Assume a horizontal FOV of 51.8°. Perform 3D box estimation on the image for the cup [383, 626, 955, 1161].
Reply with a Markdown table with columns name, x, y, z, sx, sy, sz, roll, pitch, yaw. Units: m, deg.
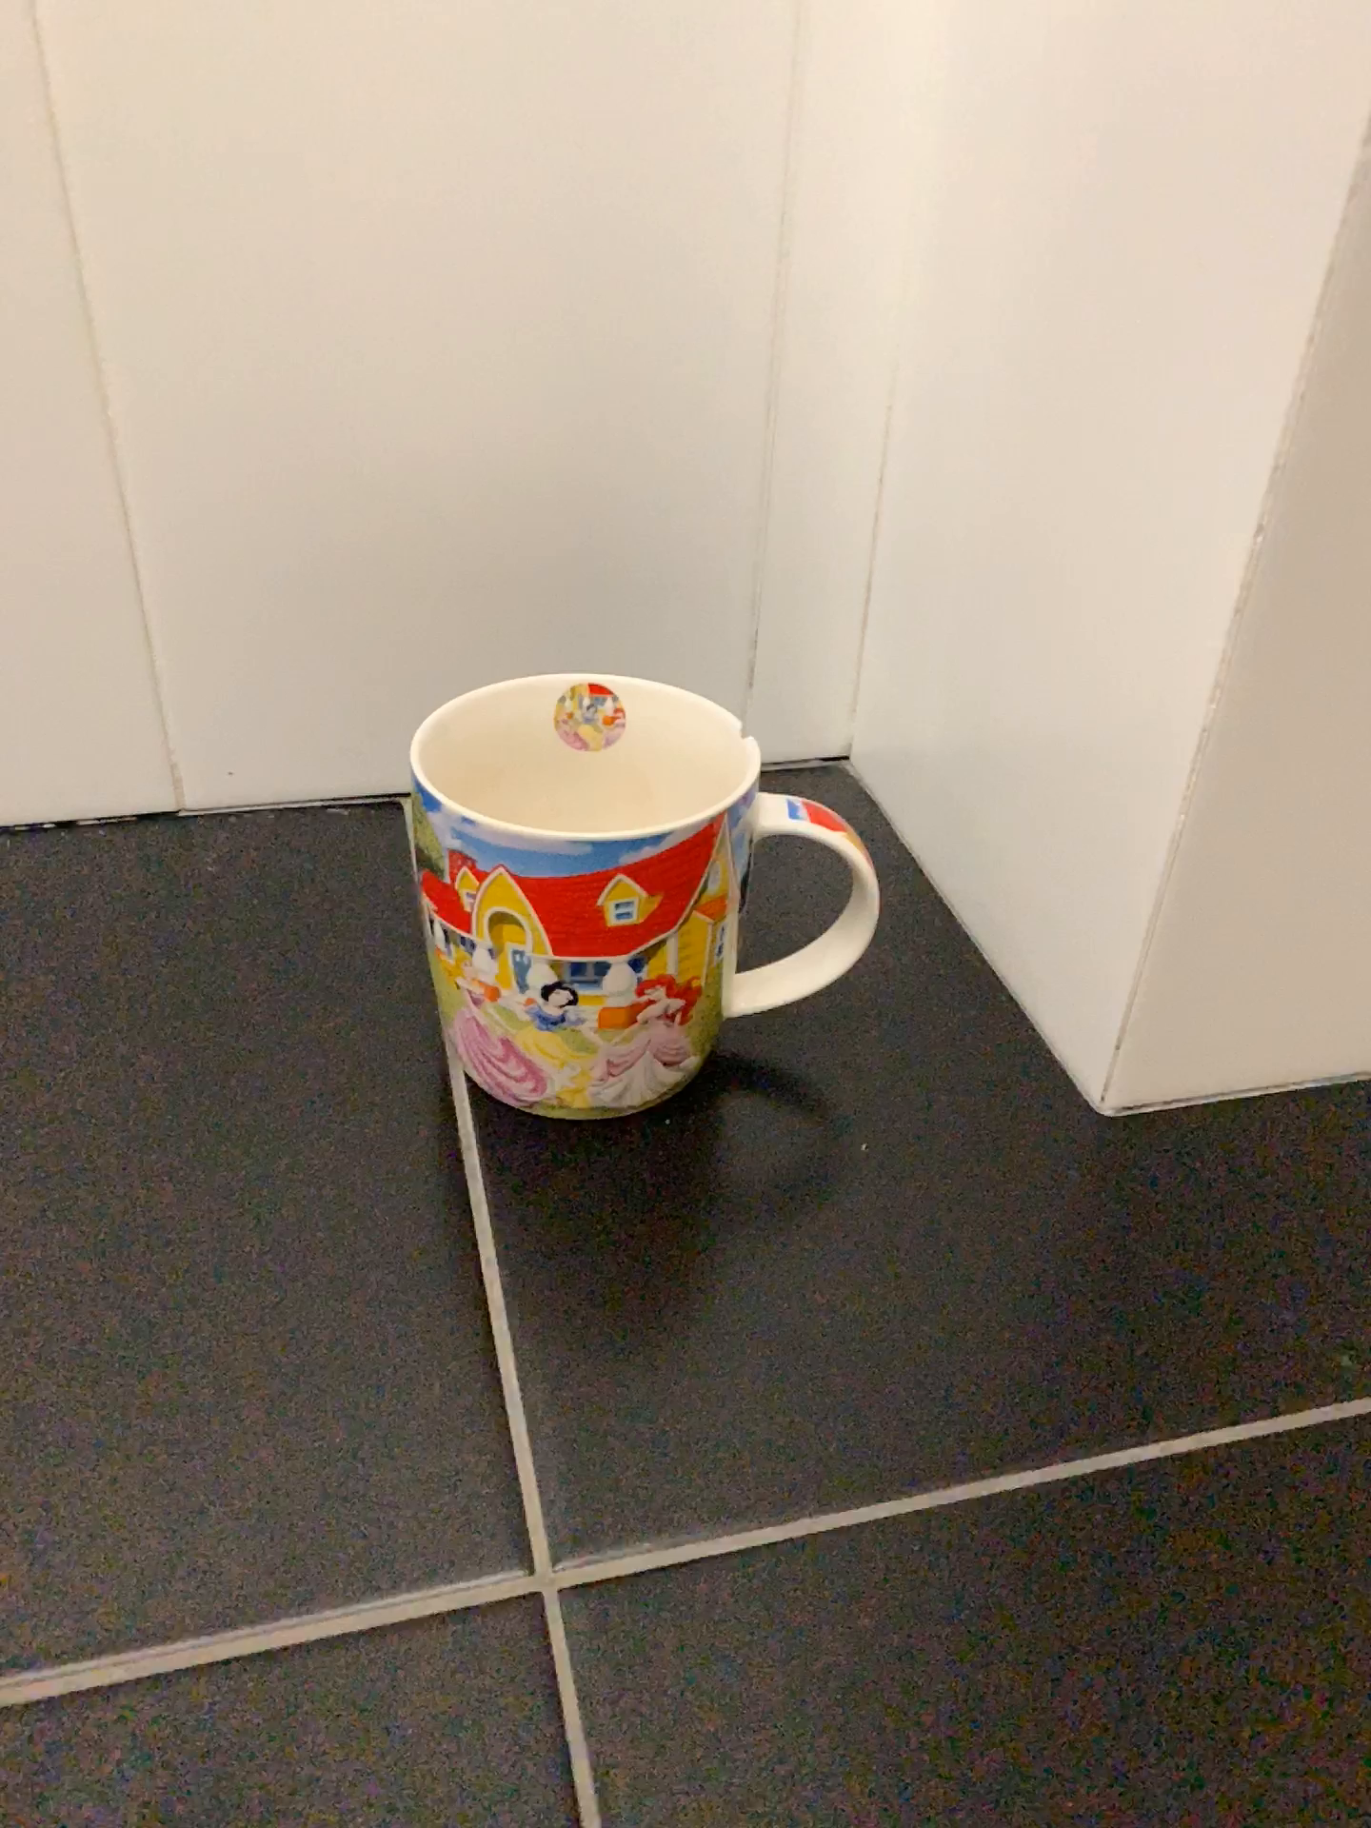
| name | x | y | z | sx | sy | sz | roll | pitch | yaw |
| --- | --- | --- | --- | --- | --- | --- | --- | --- | --- |
| cup | -0.010 | -0.010 | 0.383 | 0.124 | 0.099 | 0.086 | -8 | 36 | -16 |
